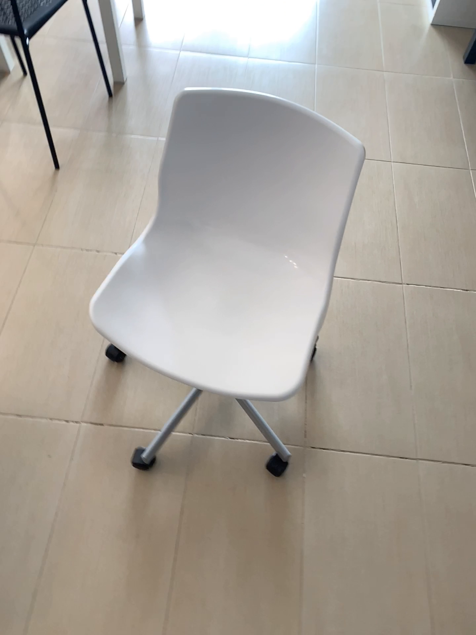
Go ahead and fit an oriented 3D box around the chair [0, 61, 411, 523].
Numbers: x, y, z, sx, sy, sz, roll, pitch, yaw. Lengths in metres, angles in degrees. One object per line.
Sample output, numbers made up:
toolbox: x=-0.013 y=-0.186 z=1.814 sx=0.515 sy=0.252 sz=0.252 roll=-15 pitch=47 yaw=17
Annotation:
chair: x=-0.058 y=-0.040 z=1.211 sx=0.641 sy=0.647 sz=0.782 roll=18 pitch=61 yaw=7
